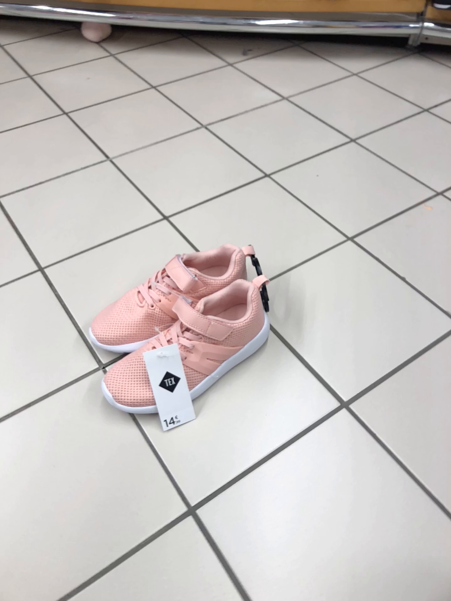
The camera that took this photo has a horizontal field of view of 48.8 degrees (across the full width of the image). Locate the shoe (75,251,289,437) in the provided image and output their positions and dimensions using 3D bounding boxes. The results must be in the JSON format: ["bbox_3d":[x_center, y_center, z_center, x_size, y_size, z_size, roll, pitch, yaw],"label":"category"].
[{"bbox_3d":[-0.041,0.042,0.541,0.204,0.093,0.083,-26,53,-22],"label":"shoe"}]

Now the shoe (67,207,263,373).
[{"bbox_3d":[-0.064,-0.017,0.595,0.211,0.092,0.080,-28,53,-23],"label":"shoe"}]
